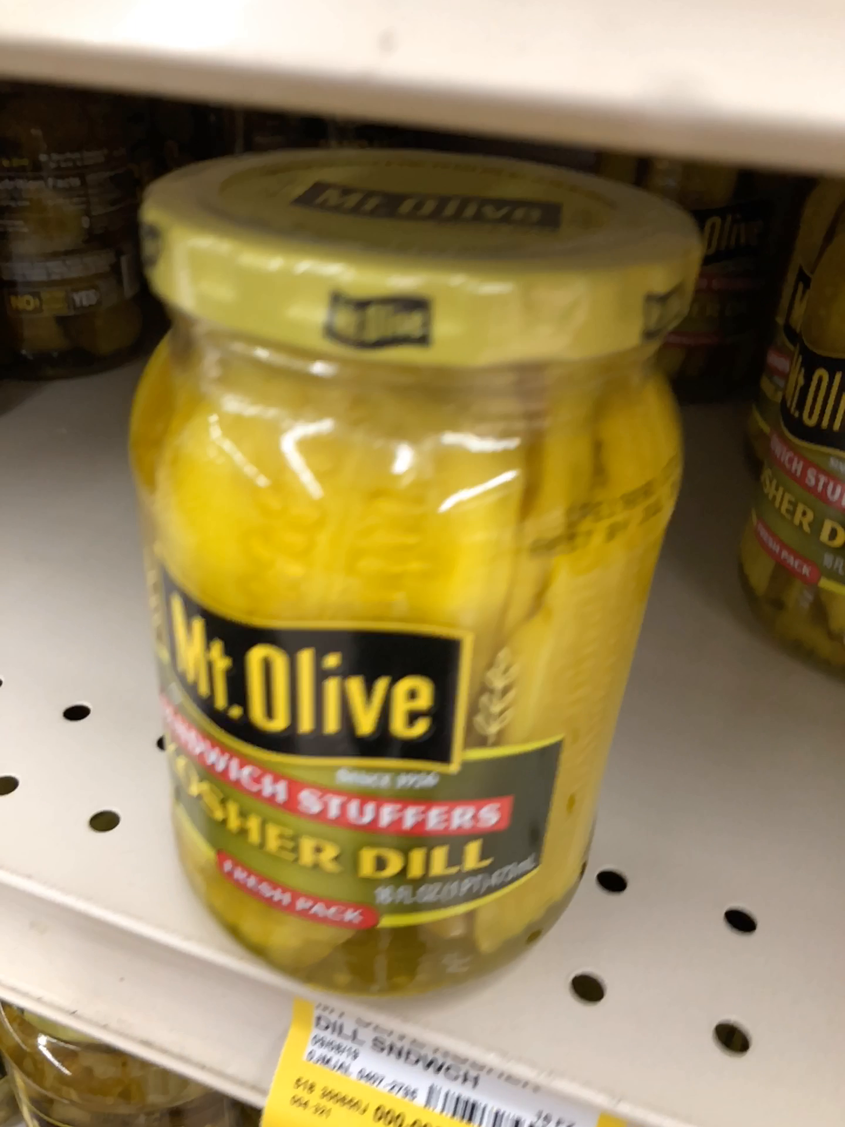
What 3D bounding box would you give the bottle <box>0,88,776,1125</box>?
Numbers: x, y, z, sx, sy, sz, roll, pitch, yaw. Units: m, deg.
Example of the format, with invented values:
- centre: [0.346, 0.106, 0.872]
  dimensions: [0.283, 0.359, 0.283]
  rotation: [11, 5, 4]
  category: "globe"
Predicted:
- centre: [-0.009, 0.002, 0.157]
  dimensions: [0.090, 0.130, 0.080]
  rotation: [16, 35, 17]
  category: "bottle"
